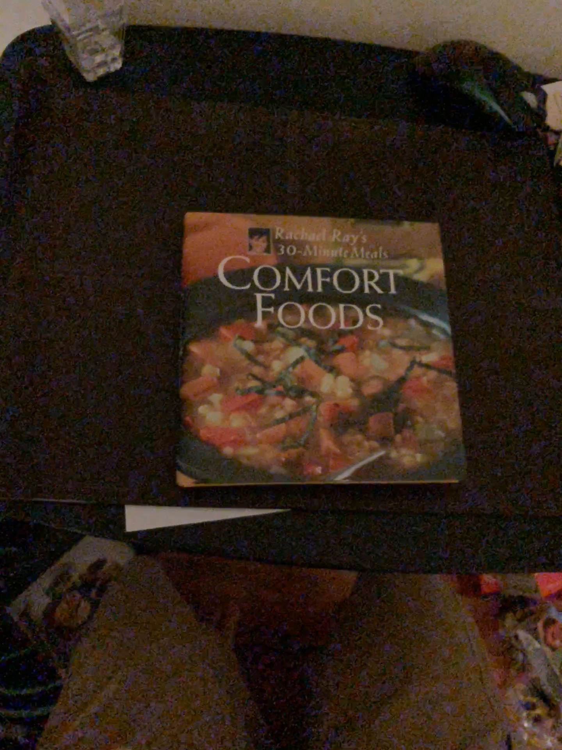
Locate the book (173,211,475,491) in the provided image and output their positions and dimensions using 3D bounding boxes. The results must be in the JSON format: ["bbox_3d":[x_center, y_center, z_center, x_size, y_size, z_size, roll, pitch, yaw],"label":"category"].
[{"bbox_3d":[0.027,-0.021,0.420,0.200,0.020,0.200,0,73,-7],"label":"book"}]
